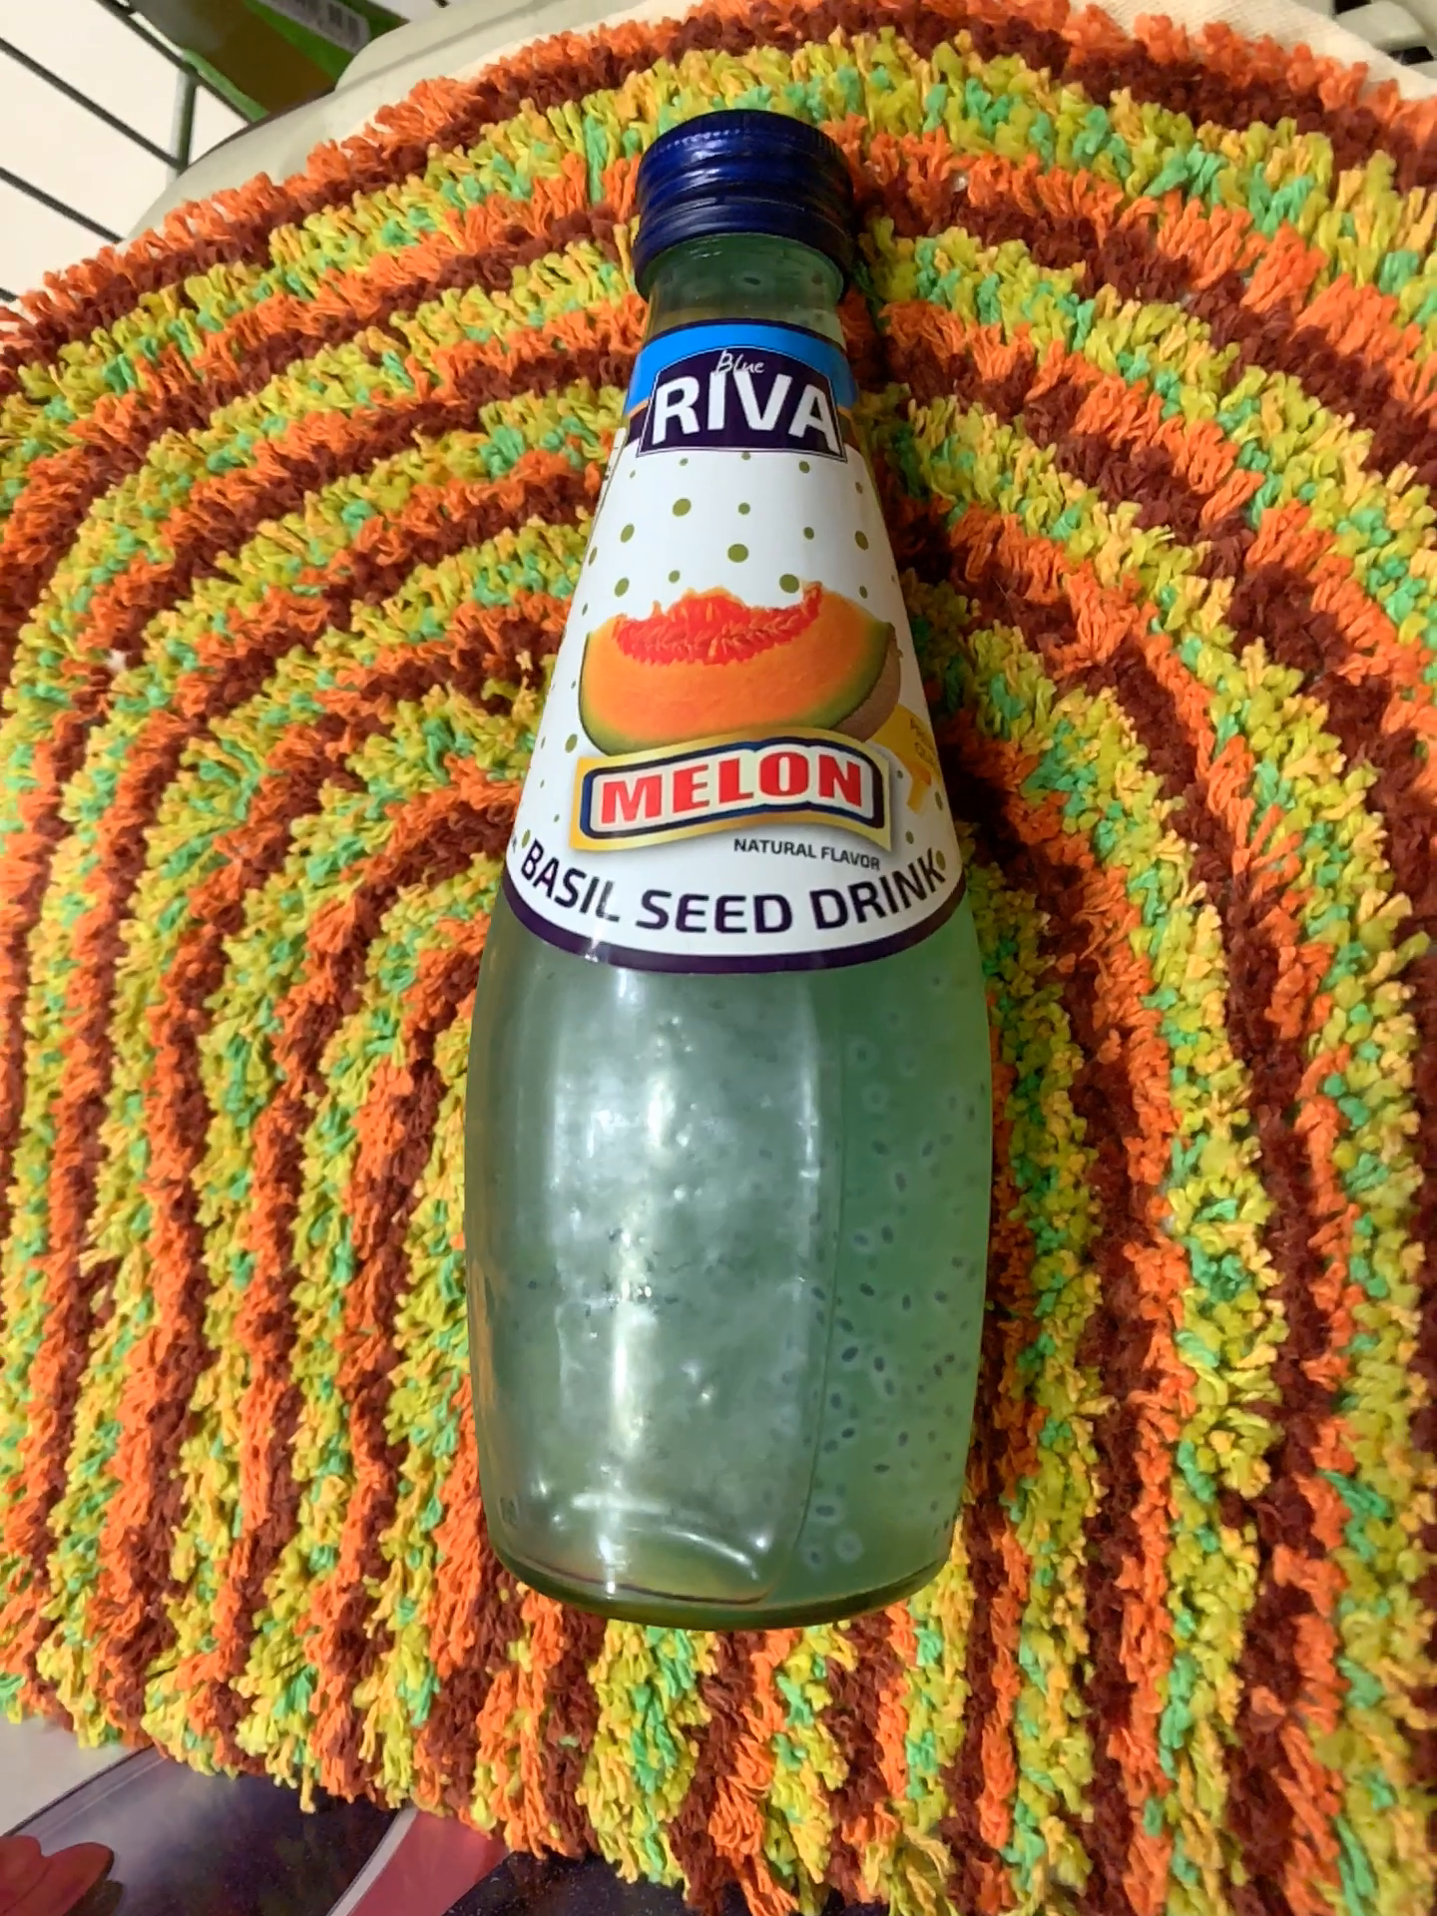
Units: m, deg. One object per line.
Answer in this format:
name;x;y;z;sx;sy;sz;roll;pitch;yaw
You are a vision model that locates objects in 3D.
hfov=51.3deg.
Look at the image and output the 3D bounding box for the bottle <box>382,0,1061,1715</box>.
bottle;0.004;-0.017;0.182;0.060;0.060;0.180;2;85;7
